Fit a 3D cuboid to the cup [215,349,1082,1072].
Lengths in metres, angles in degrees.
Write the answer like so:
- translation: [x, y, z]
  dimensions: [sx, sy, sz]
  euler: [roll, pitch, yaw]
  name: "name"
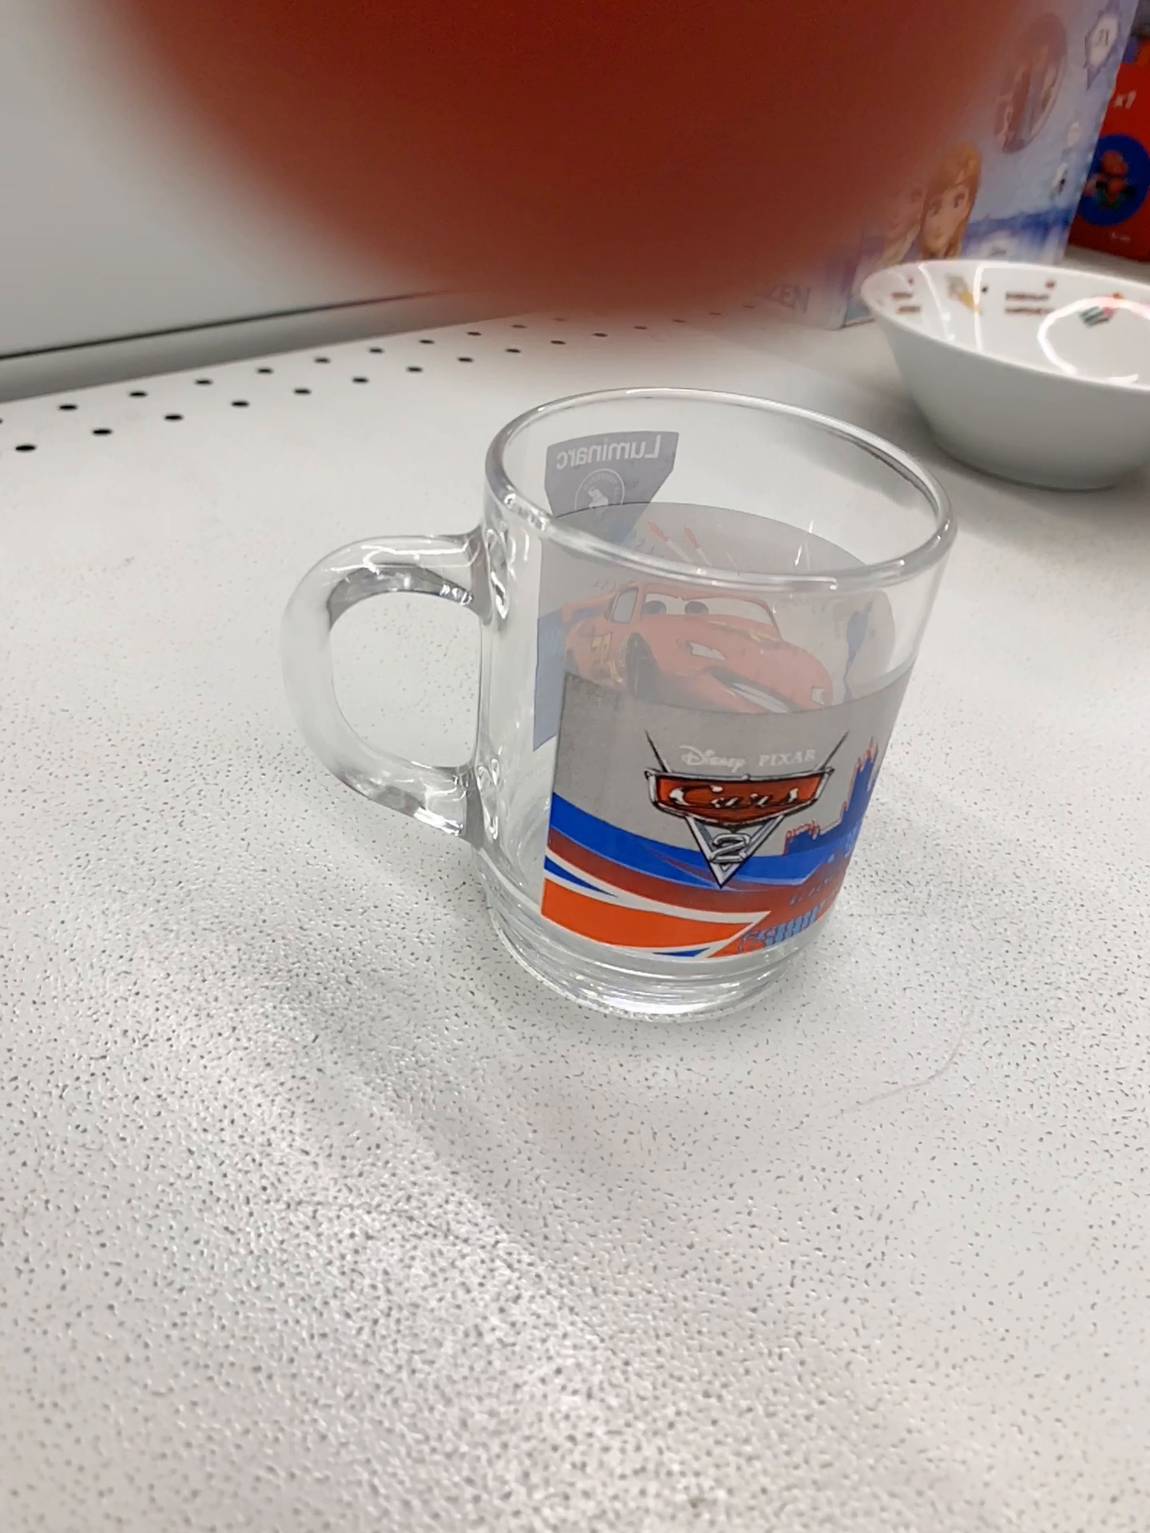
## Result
- translation: [0.002, -0.012, 0.197]
  dimensions: [0.108, 0.087, 0.071]
  euler: [-3, 37, -12]
  name: "cup"
